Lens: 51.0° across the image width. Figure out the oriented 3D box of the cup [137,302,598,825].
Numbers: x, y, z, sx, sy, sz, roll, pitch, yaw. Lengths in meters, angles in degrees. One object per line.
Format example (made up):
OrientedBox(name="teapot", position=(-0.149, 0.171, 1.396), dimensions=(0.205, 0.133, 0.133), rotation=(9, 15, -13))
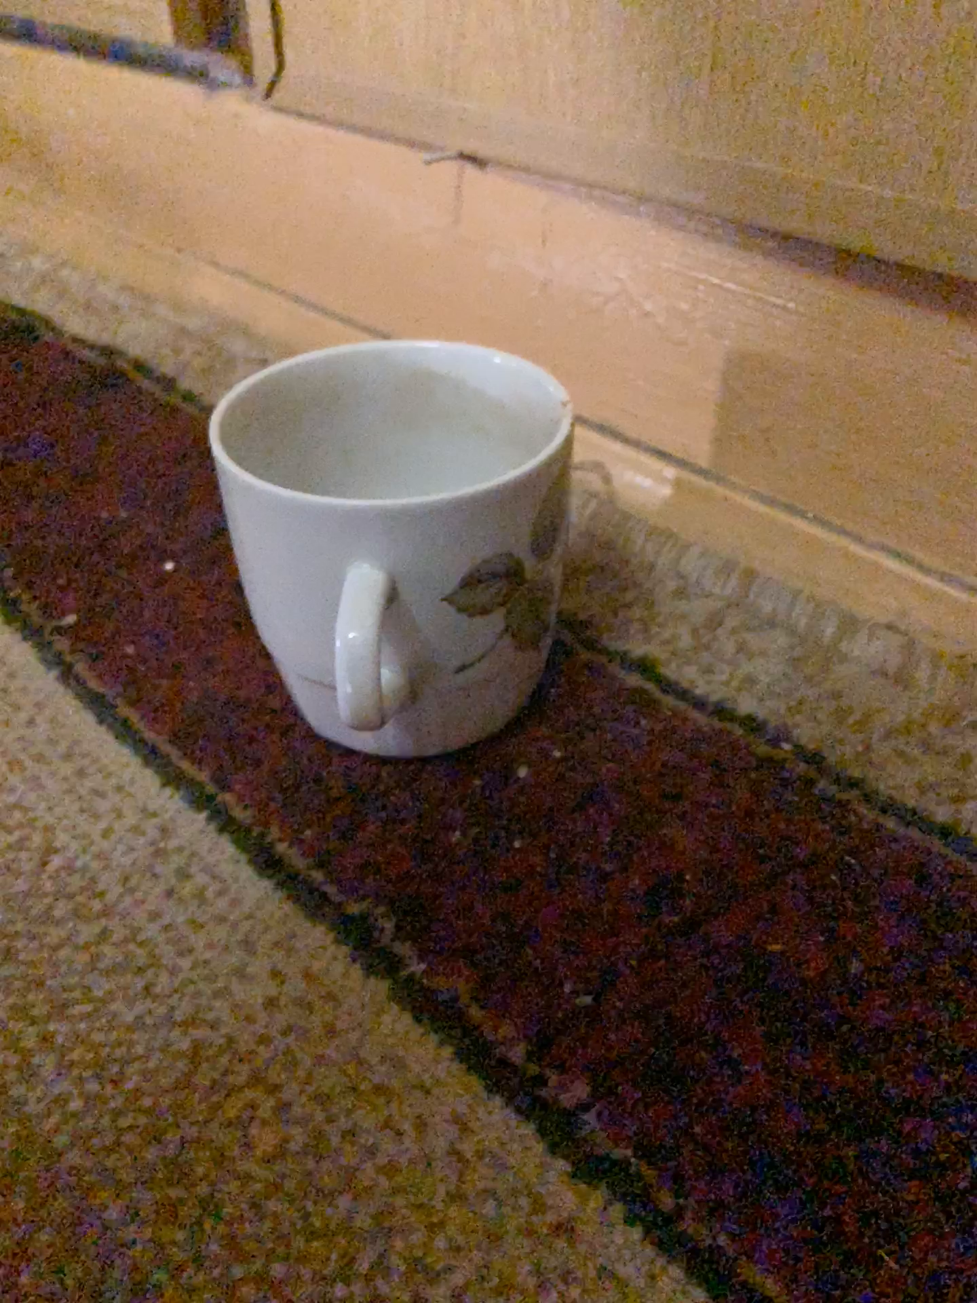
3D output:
OrientedBox(name="cup", position=(-0.023, -0.028, 0.248), dimensions=(0.081, 0.075, 0.114), rotation=(-2, 37, -2))
